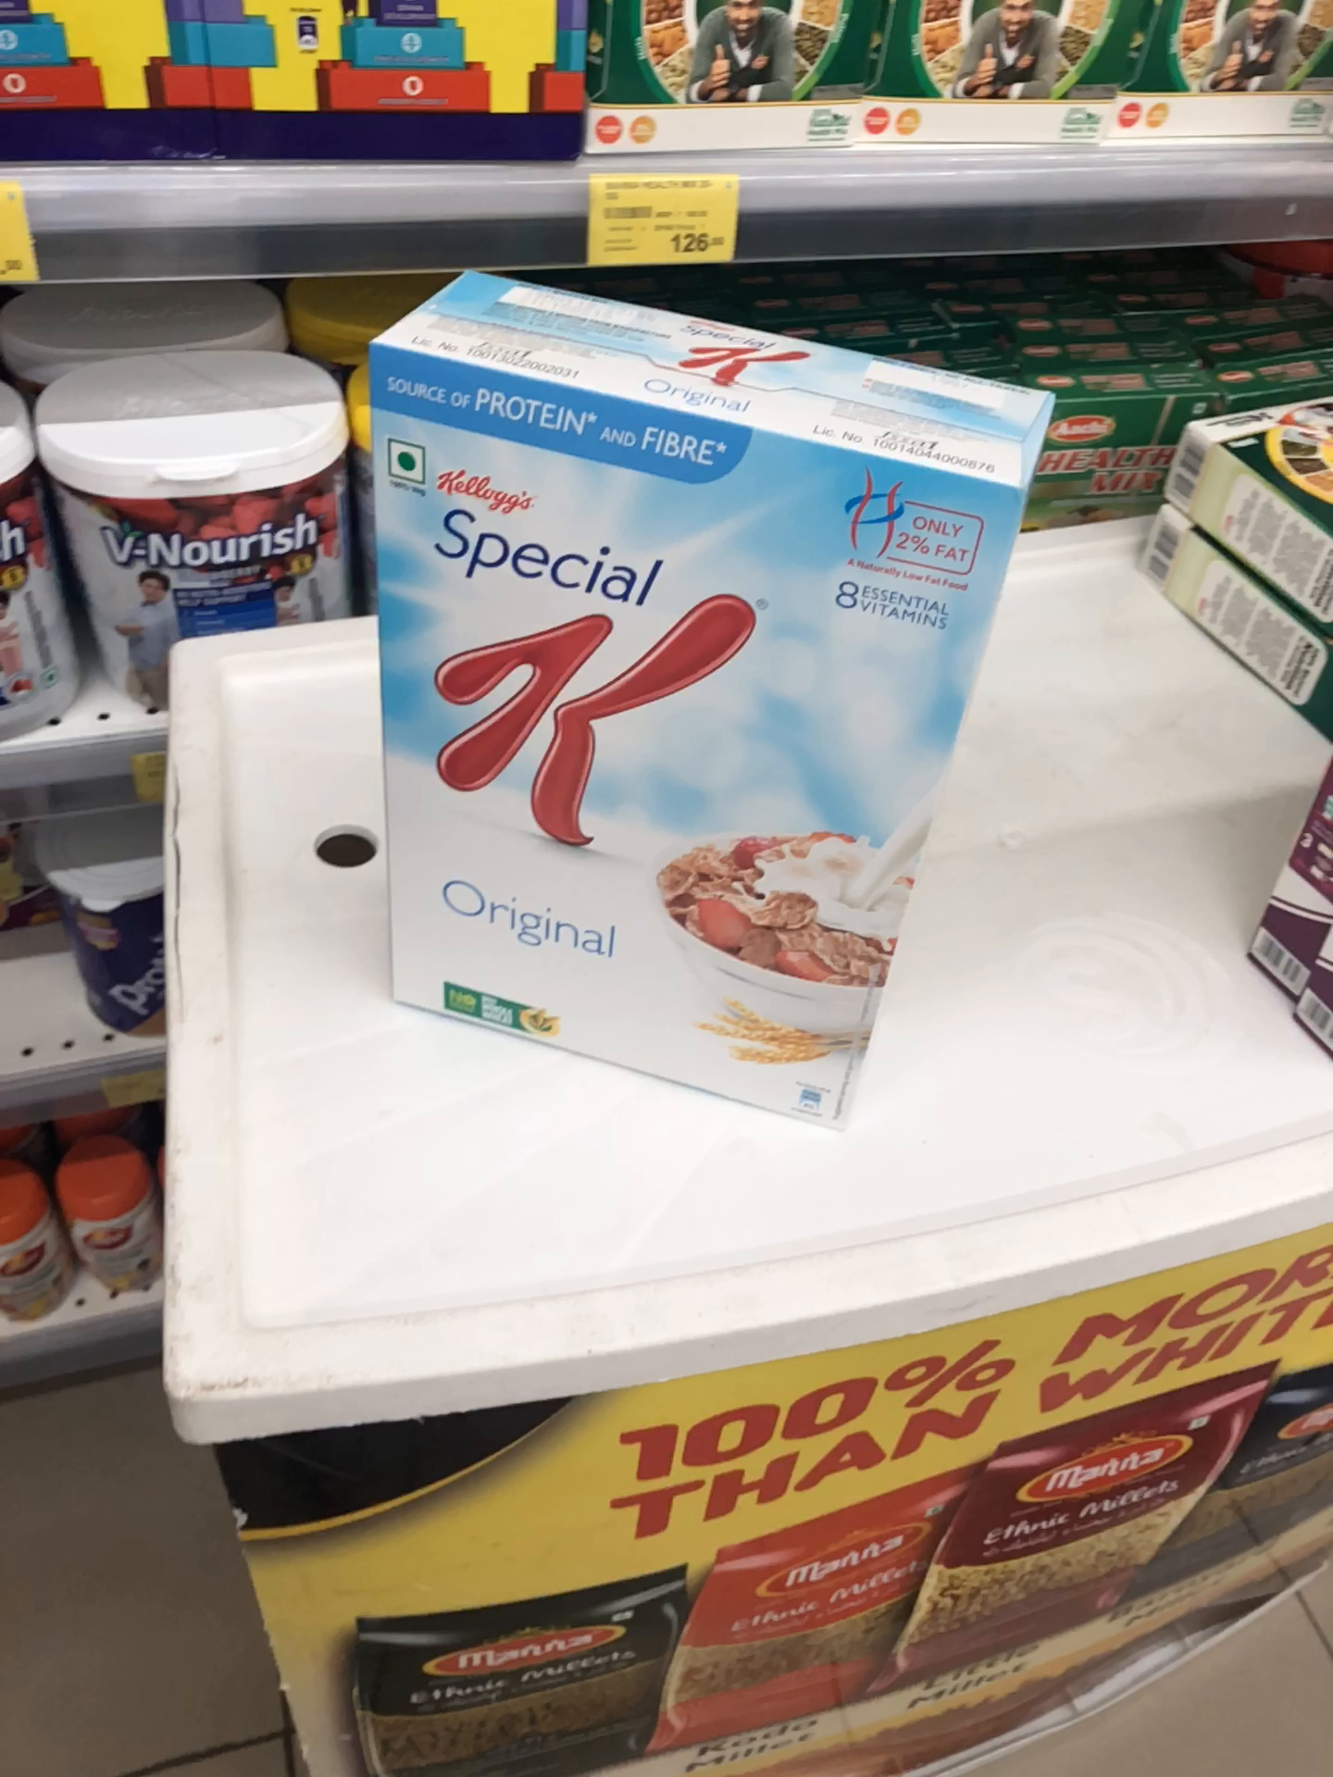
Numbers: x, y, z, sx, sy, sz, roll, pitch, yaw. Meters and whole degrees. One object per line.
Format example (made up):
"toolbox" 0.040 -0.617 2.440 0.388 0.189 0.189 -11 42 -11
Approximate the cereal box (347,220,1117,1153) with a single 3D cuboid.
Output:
"cereal box" 0.008 -0.050 0.471 0.190 0.259 0.070 15 42 9
